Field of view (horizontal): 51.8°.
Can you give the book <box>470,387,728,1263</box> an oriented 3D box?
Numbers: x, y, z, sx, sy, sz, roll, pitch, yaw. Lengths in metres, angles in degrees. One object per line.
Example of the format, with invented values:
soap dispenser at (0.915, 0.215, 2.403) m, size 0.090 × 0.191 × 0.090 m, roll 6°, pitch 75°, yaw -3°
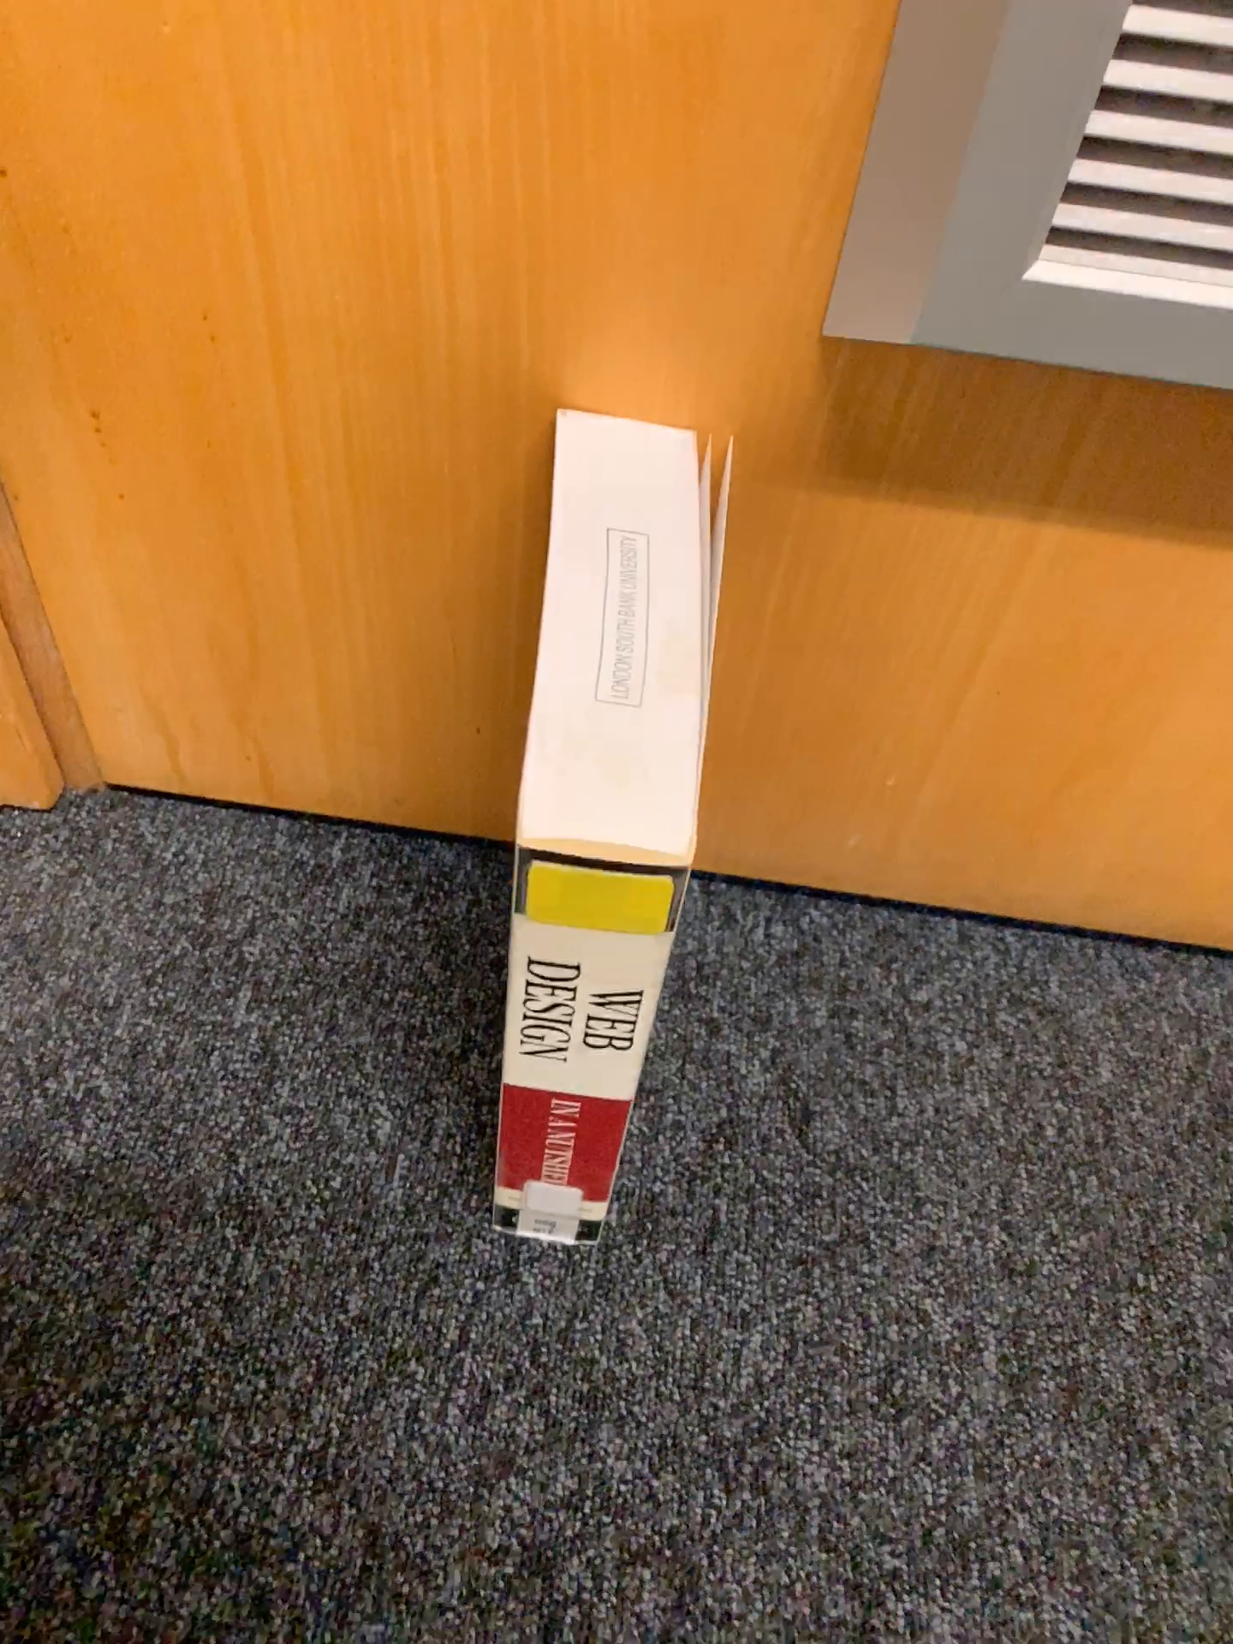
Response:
book at (-0.009, 0.014, 0.404) m, size 0.050 × 0.228 × 0.171 m, roll 6°, pitch 52°, yaw -2°
